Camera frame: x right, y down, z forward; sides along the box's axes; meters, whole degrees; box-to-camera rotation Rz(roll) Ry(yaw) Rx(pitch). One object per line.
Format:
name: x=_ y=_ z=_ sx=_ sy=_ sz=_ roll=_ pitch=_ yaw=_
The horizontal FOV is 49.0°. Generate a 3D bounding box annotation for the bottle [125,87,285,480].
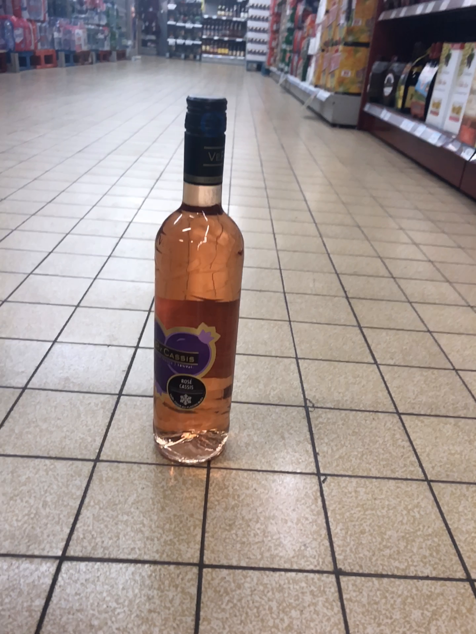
bottle: x=-0.033 y=-0.021 z=0.426 sx=0.080 sy=0.298 sz=0.081 roll=4 pitch=26 yaw=-2
